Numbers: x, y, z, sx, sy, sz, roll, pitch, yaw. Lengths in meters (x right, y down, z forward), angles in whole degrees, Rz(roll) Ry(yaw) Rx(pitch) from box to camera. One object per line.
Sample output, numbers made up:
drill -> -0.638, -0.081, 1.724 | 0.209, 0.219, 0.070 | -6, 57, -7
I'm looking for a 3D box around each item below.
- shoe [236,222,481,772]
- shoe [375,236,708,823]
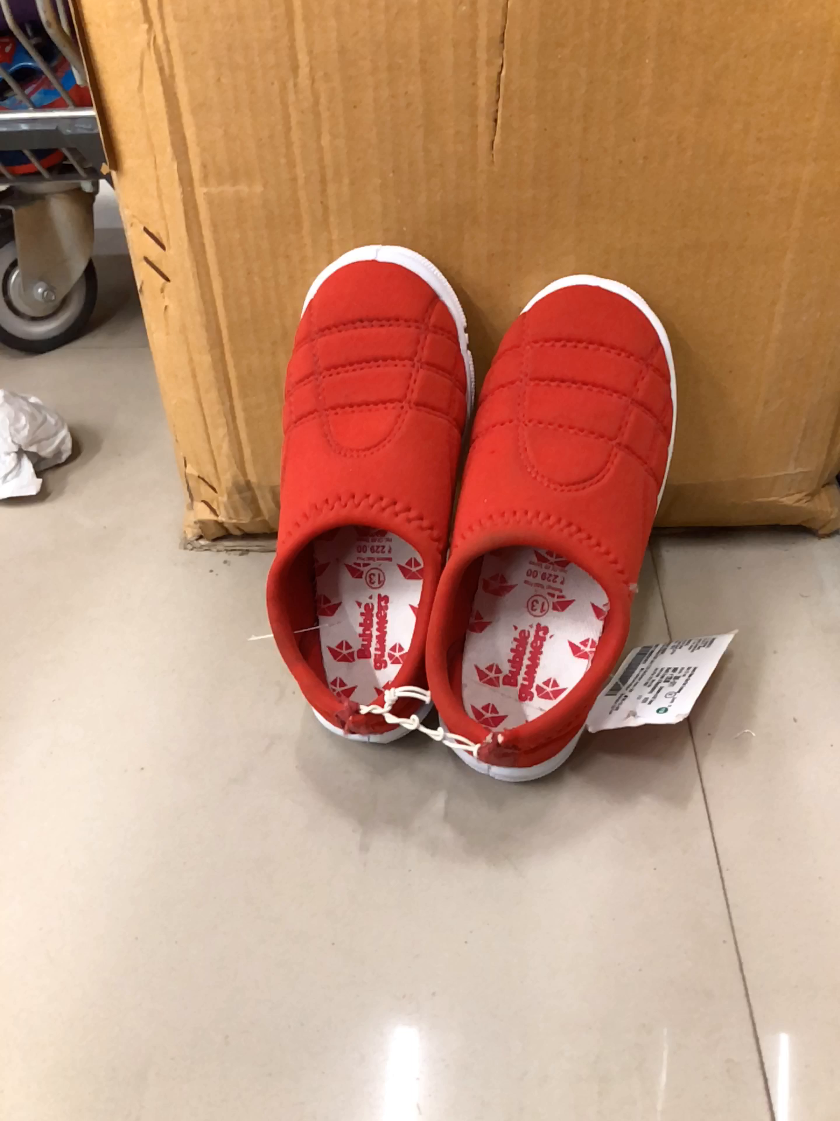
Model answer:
shoe -> -0.022, -0.026, 0.393 | 0.084, 0.205, 0.082 | 2, 3, 8
shoe -> 0.054, -0.014, 0.386 | 0.084, 0.208, 0.081 | 12, 2, 19
